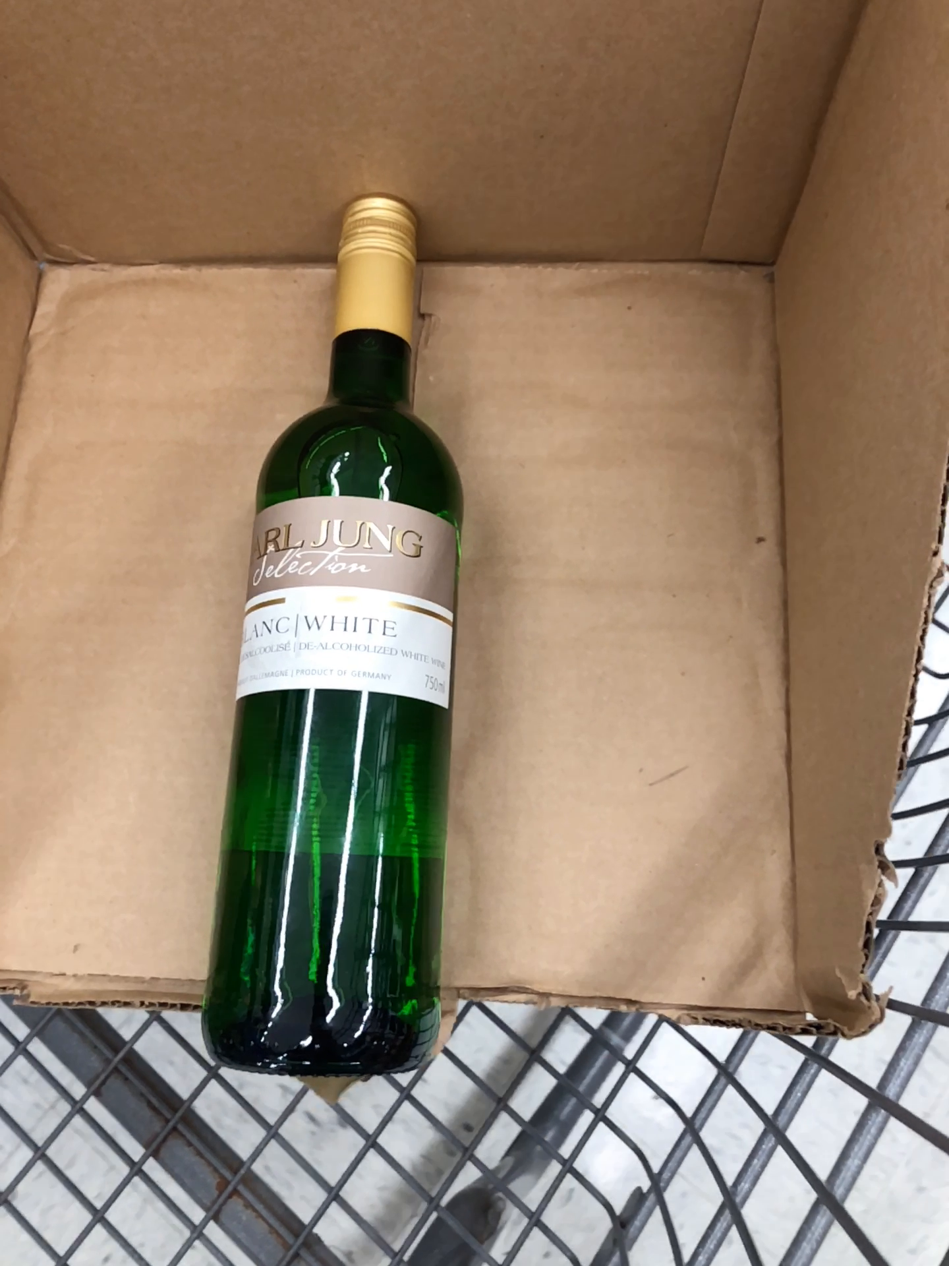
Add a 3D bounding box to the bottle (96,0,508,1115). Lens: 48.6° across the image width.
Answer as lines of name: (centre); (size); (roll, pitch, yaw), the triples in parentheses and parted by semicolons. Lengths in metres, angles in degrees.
bottle: (-0.042, -0.031, 0.351); (0.080, 0.100, 0.331); (-1, 75, 13)
